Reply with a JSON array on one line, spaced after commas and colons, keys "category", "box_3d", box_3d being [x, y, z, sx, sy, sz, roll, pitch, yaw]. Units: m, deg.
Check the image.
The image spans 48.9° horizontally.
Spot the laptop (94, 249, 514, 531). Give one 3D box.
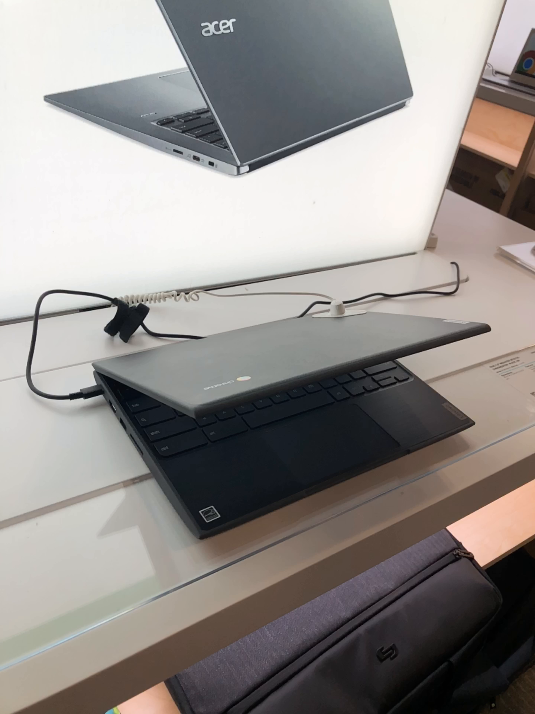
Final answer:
[{"category": "laptop", "box_3d": [0.027, 0.003, 0.490, 0.277, 0.072, 0.186, -14, 43, -29]}]
